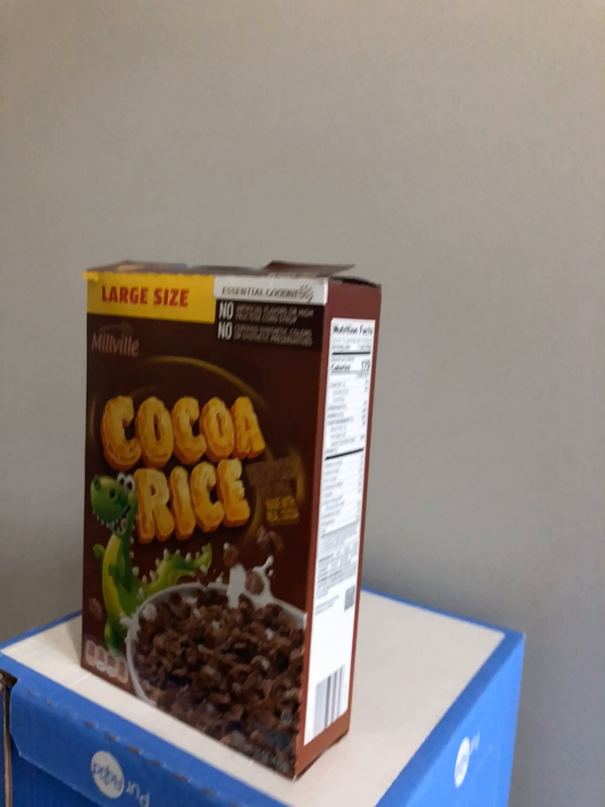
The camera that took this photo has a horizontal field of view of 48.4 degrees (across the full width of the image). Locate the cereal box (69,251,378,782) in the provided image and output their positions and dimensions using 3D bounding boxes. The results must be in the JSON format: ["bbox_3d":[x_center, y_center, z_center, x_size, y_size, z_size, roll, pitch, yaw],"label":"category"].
[{"bbox_3d":[-0.063,0.053,0.438,0.200,0.290,0.060,8,9,34],"label":"cereal box"}]
